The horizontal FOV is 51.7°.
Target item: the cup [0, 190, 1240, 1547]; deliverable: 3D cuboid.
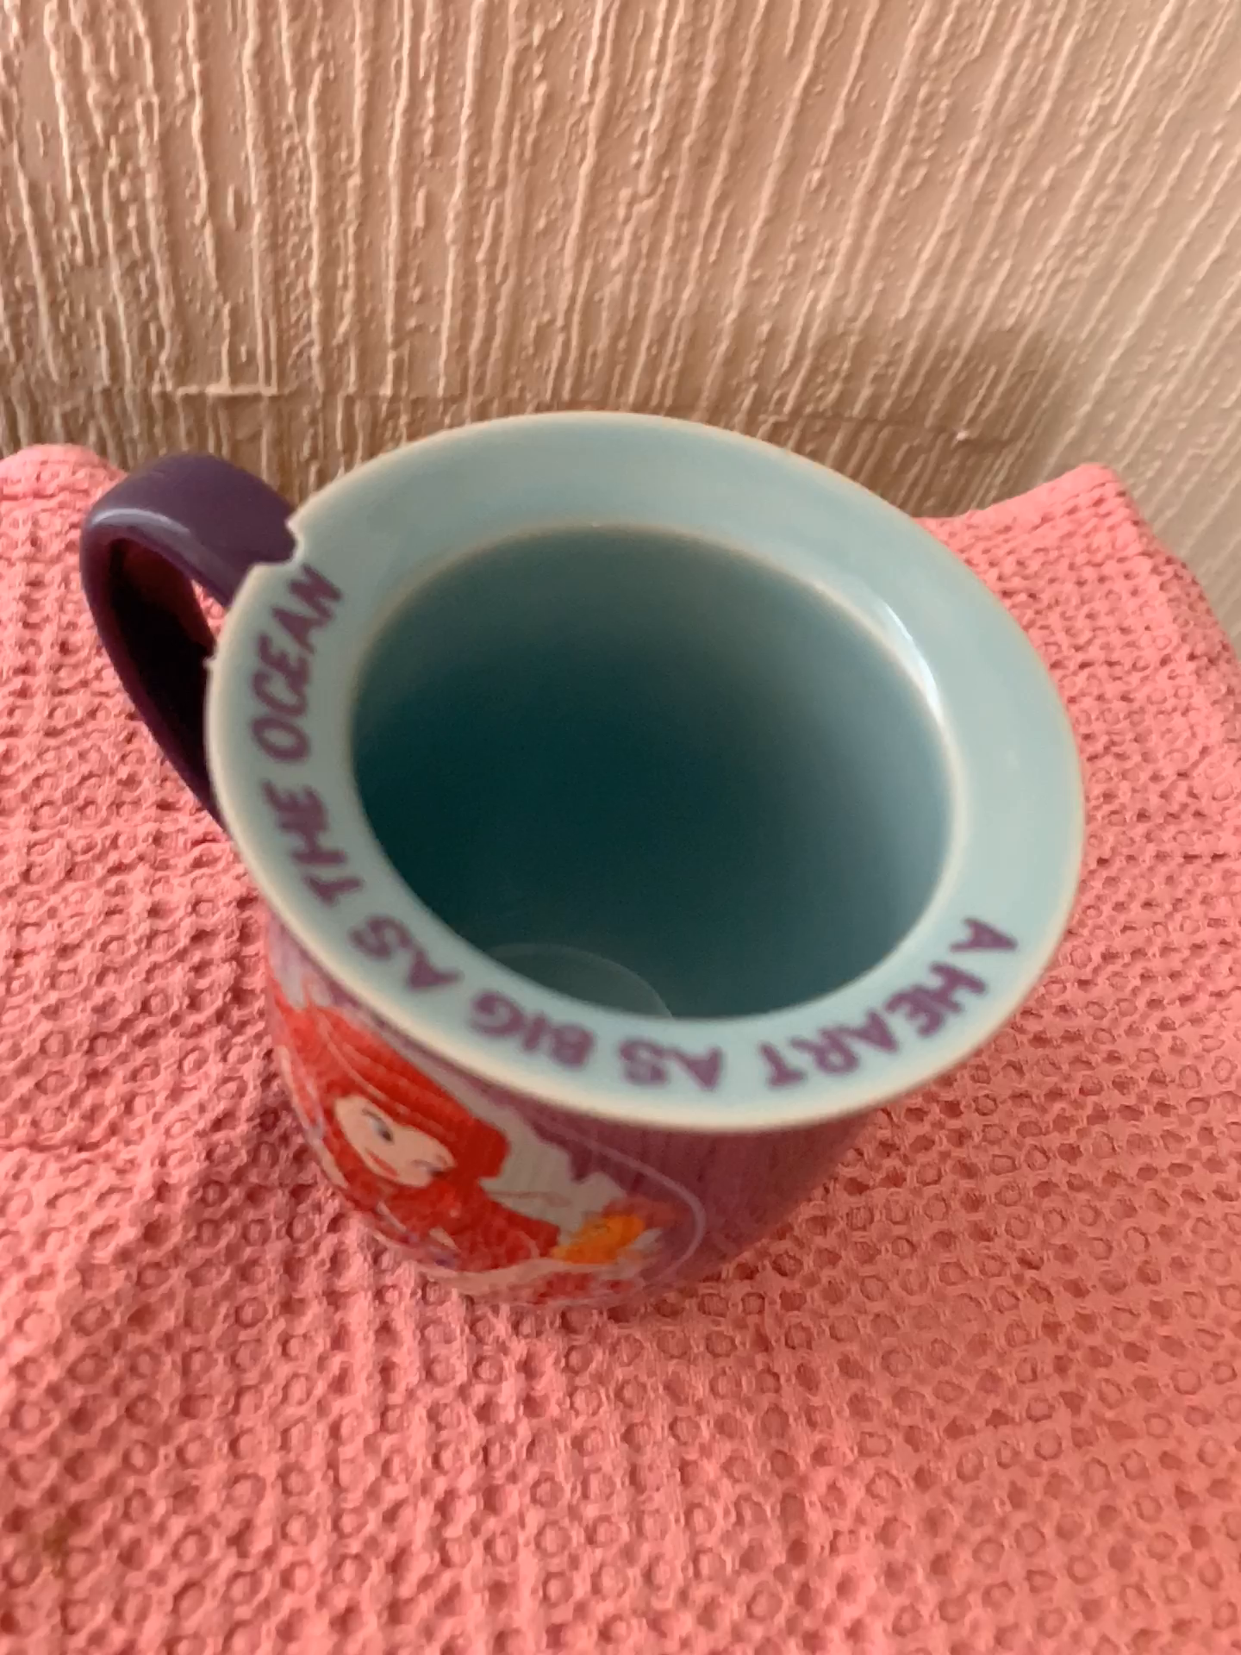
[{"bbox_3d":[-0.013,0.005,0.184,0.140,0.099,0.101,34,55,11],"label":"cup"}]
